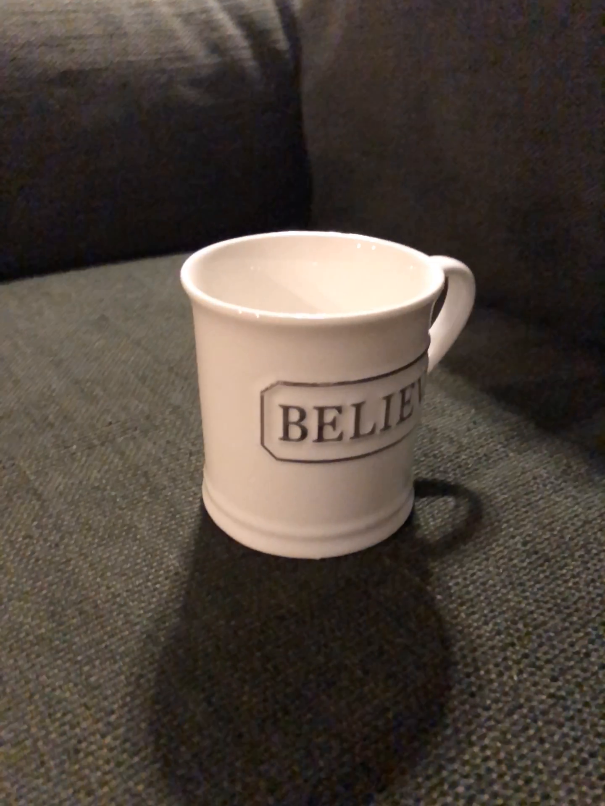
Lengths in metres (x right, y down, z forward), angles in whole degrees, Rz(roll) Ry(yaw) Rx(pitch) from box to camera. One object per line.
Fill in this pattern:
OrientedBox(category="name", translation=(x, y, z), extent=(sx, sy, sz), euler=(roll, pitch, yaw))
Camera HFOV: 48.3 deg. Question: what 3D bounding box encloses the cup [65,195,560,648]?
OrientedBox(category="cup", translation=(0.007, -0.009, 0.257), extent=(0.140, 0.099, 0.100), euler=(-24, 36, -34))
